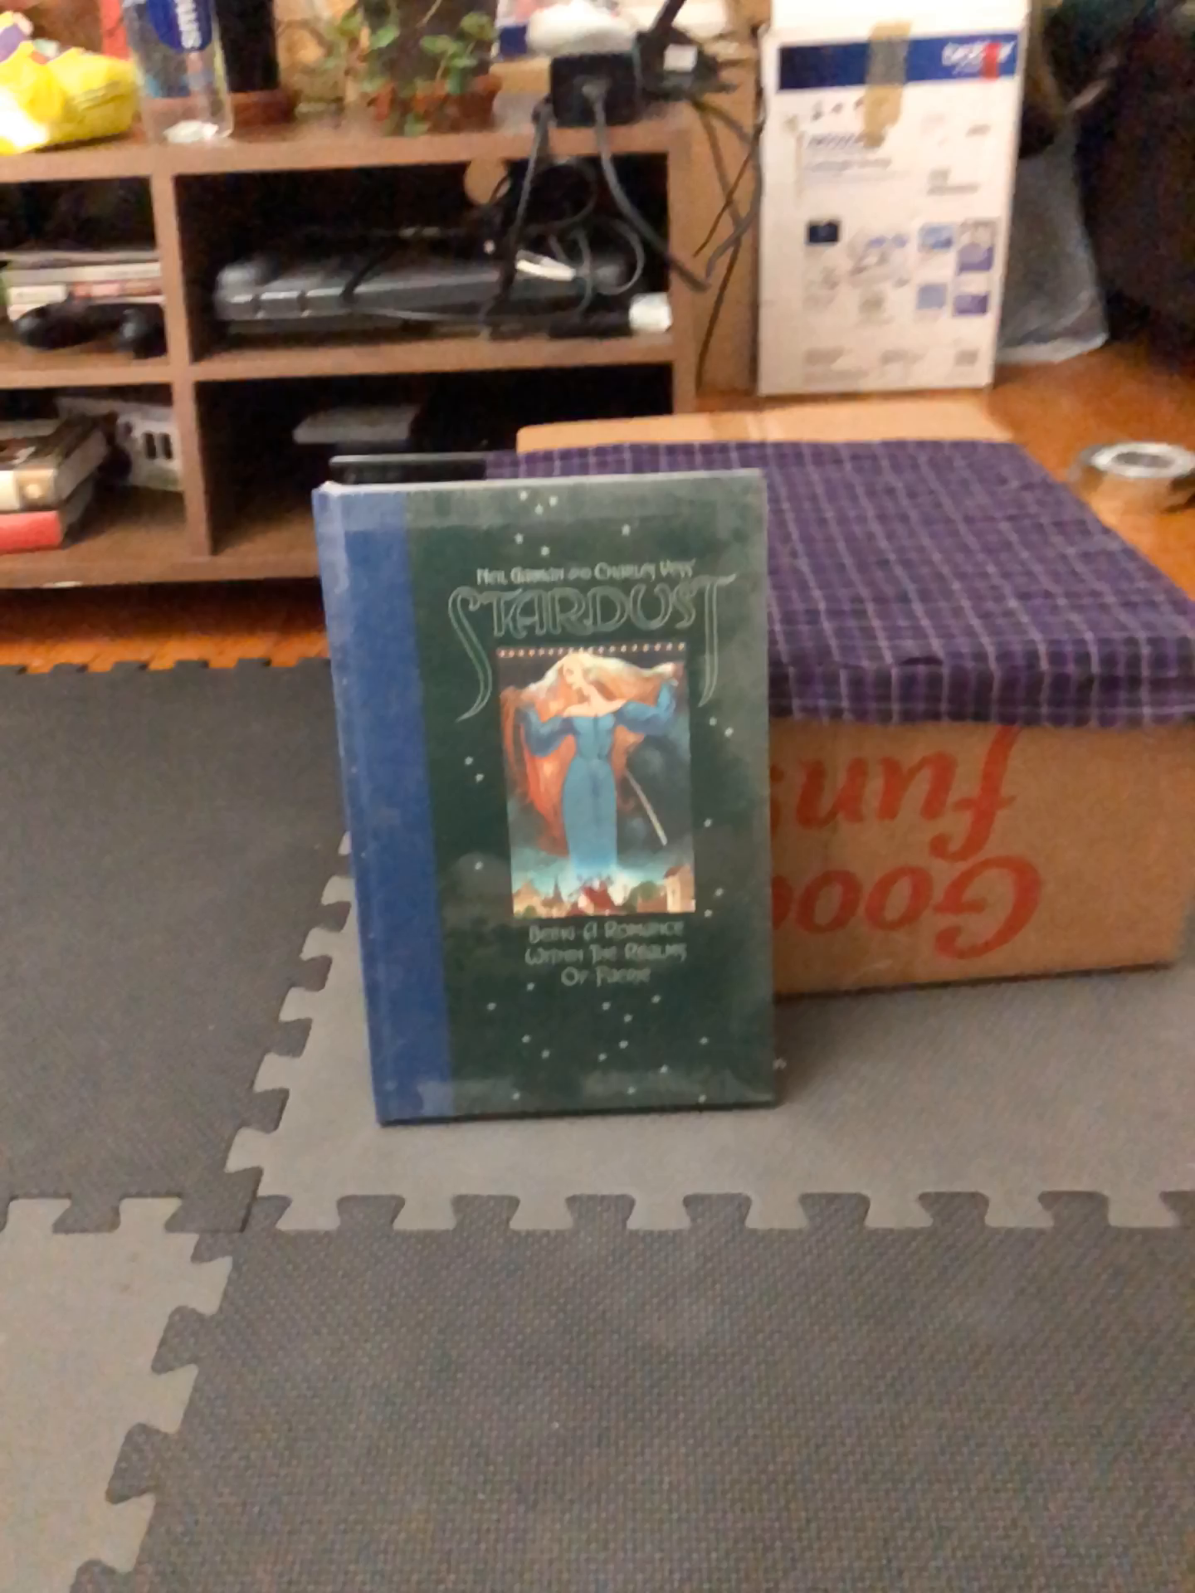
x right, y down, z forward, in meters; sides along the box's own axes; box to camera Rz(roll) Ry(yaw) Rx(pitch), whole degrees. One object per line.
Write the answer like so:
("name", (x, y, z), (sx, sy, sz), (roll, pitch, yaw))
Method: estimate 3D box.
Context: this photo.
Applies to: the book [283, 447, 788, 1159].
("book", (-0.021, 0.012, 0.619), (0.210, 0.329, 0.020), (-4, 14, 1))
